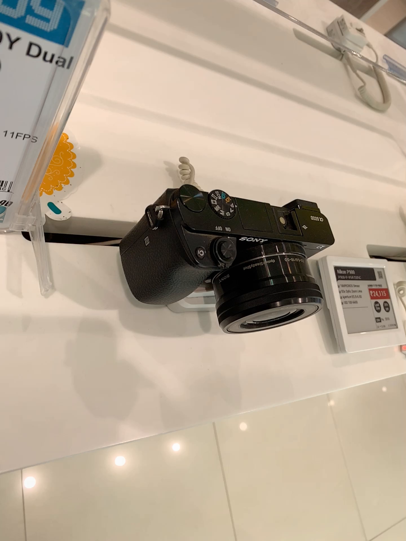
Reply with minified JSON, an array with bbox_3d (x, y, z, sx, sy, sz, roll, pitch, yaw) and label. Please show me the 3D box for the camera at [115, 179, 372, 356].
[{"bbox_3d":[0.020,0.003,0.214,0.104,0.063,0.058,1,69,-37],"label":"camera"}]
